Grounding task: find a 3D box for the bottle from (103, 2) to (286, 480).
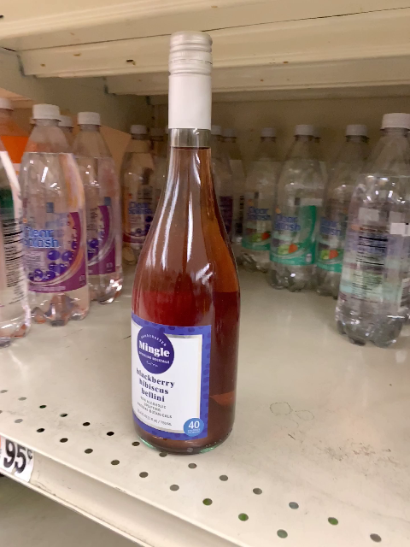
[{"bbox_3d":[-0.008,-0.014,0.315,0.090,0.299,0.080,11,18,31],"label":"bottle"}]
